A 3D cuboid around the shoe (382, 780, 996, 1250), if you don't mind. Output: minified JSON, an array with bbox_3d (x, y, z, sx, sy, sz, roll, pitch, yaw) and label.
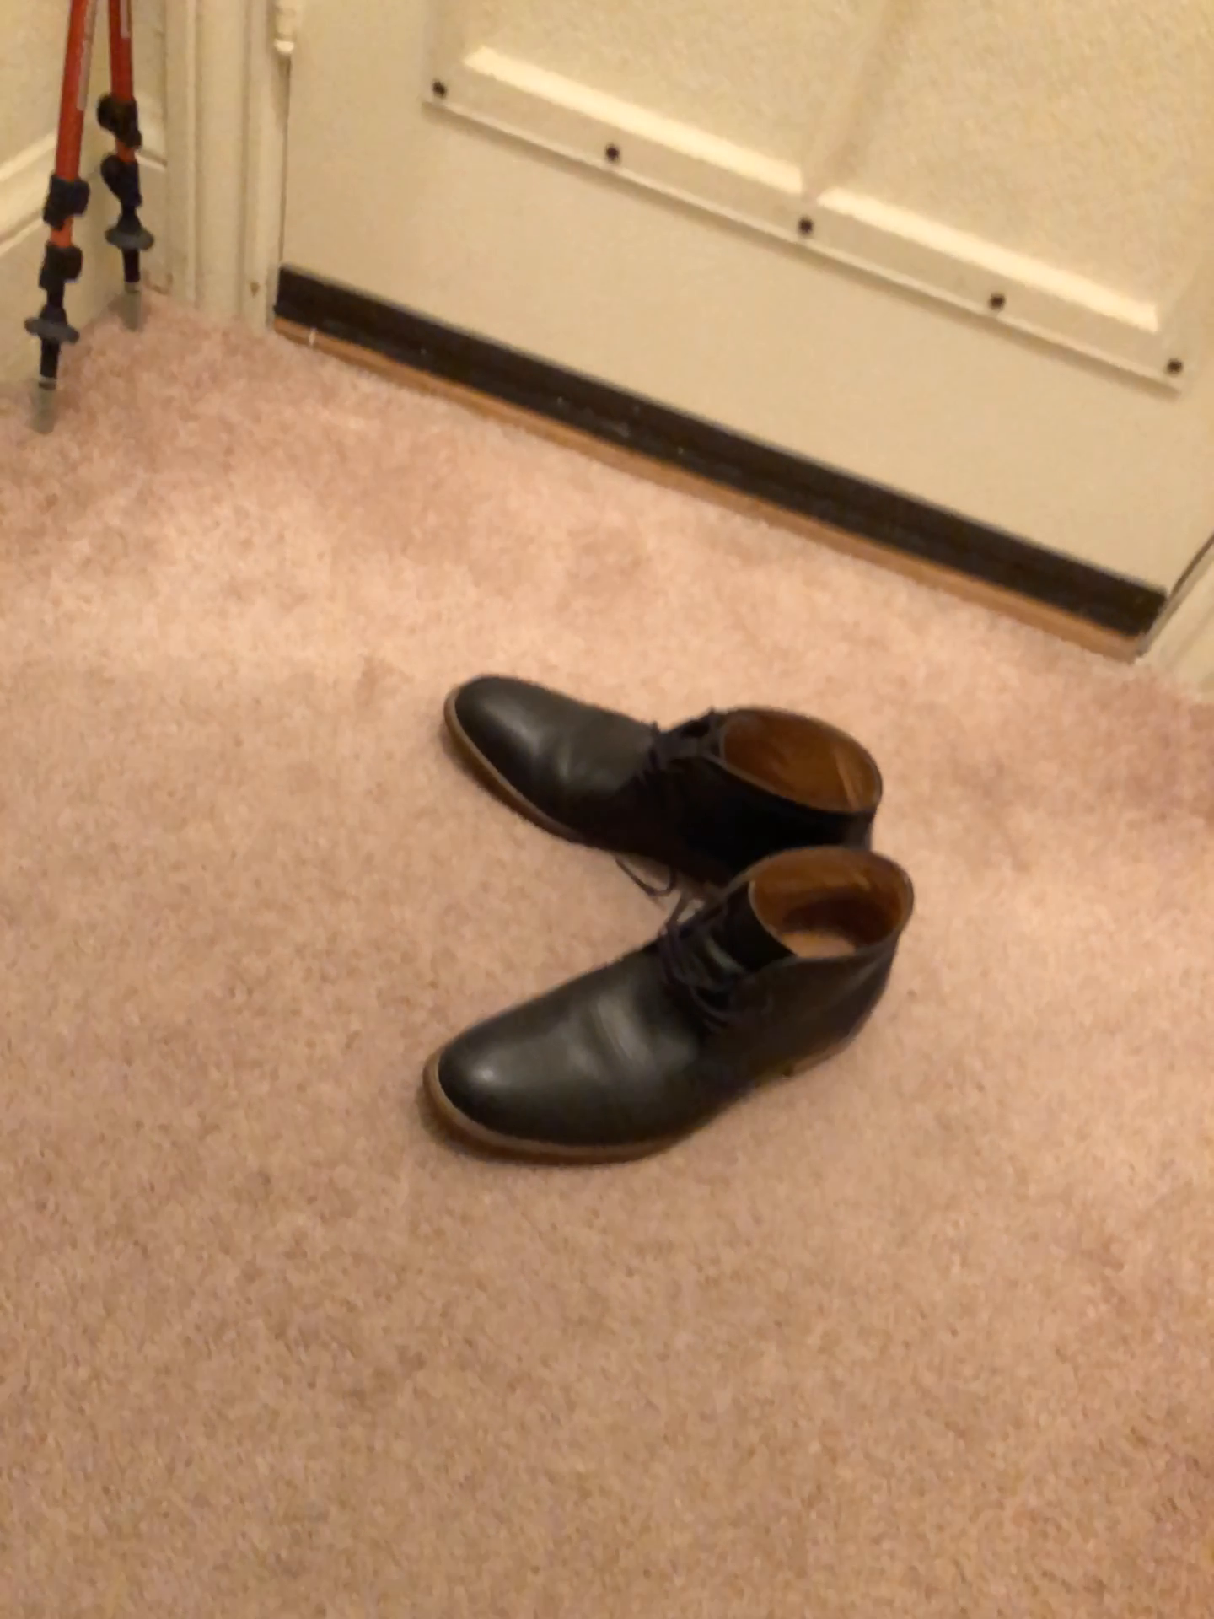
[{"bbox_3d":[0.044,0.106,0.751,0.303,0.135,0.116,-17,58,-28],"label":"shoe"}]

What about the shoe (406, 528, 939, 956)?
[{"bbox_3d":[0.039,-0.043,0.875,0.302,0.135,0.117,22,49,2],"label":"shoe"}]
